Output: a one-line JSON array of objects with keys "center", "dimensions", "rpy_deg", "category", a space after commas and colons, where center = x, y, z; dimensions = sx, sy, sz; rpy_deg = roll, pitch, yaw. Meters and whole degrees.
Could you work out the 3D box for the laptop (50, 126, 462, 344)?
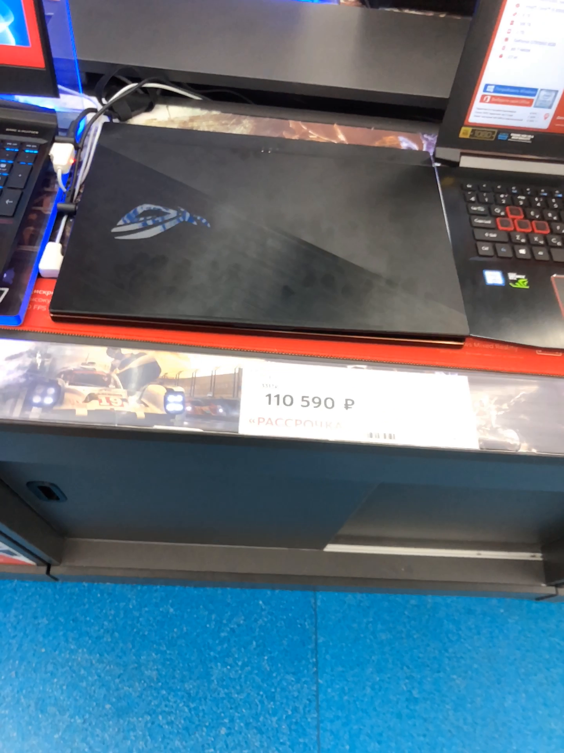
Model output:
[{"center": [-0.016, -0.146, 0.598], "dimensions": [0.348, 0.006, 0.255], "rpy_deg": [4, 56, -4], "category": "laptop"}]
